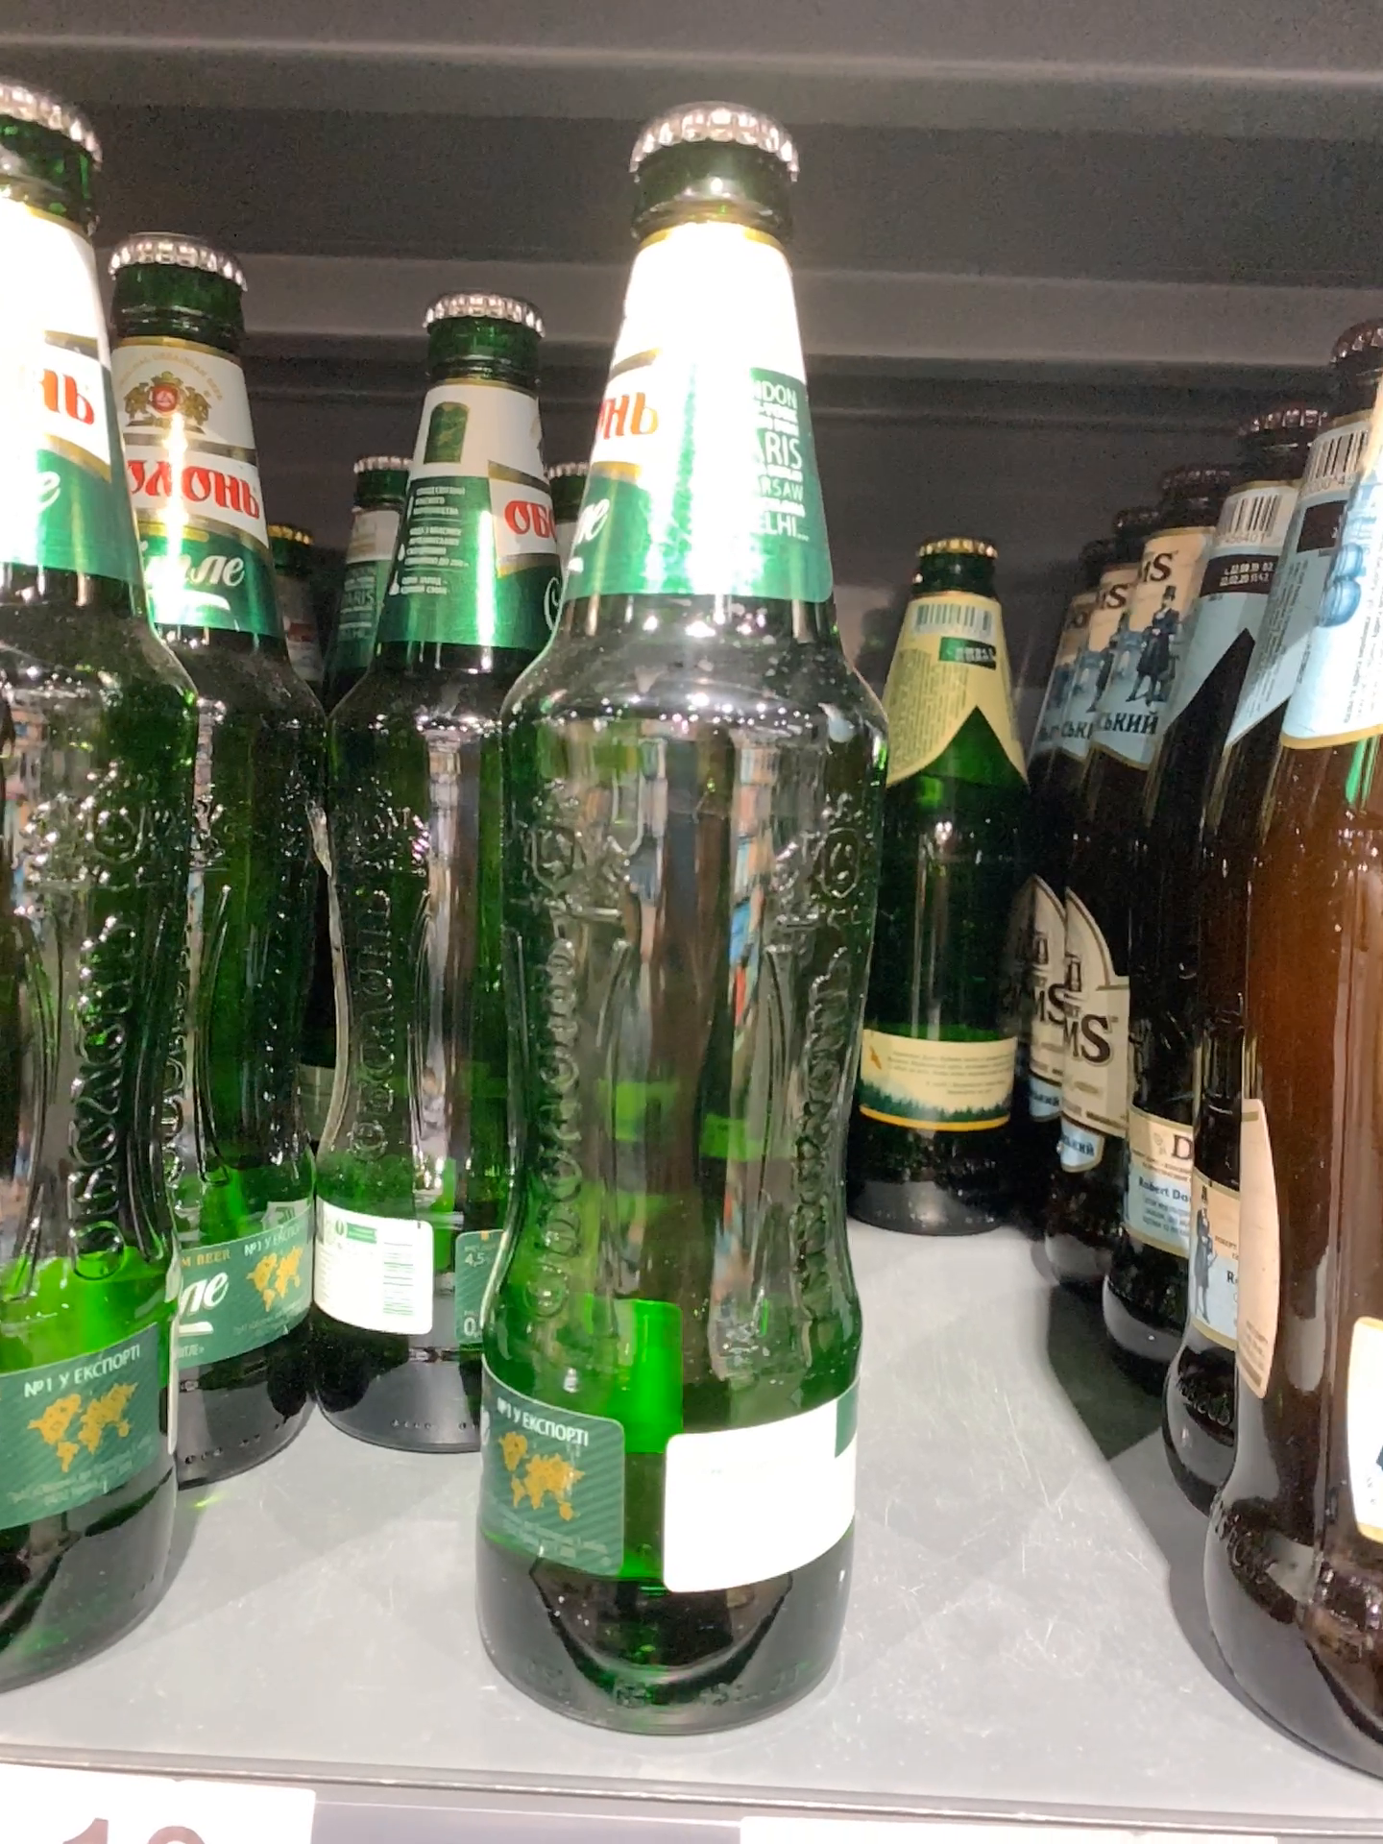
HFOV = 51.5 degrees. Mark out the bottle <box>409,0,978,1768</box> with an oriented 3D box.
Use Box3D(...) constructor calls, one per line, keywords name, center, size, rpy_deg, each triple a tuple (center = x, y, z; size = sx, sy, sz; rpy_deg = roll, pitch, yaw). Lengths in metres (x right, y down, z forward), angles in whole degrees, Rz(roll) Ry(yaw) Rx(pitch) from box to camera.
Box3D(name="bottle", center=(-0.006, -0.007, 0.247), size=(0.070, 0.257, 0.073), rpy_deg=(2, 5, 0))
